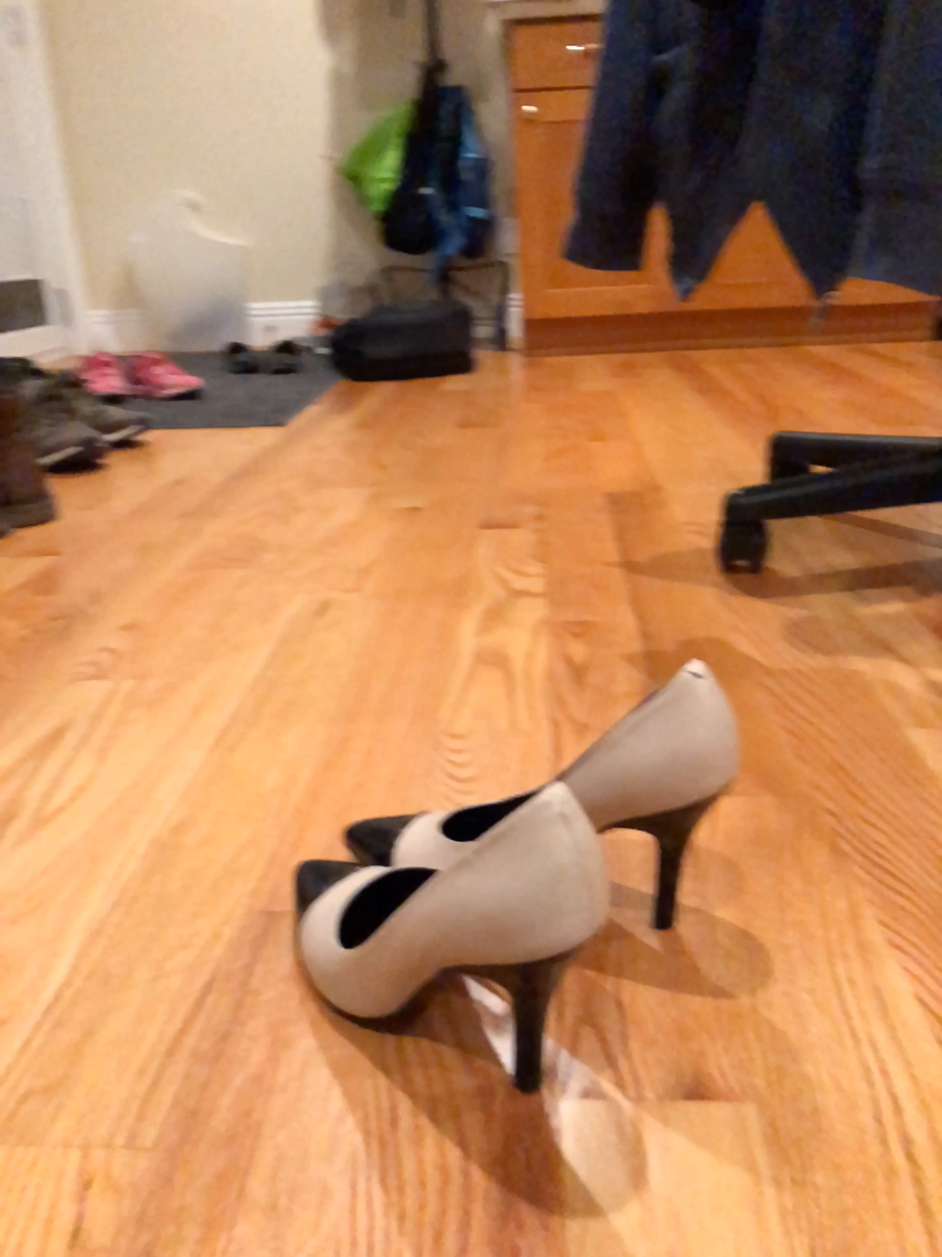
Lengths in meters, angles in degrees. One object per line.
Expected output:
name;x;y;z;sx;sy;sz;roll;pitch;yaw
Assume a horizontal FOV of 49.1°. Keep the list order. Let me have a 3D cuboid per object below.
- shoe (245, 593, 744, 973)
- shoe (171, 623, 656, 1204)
shoe;0.013;0.070;0.539;0.235;0.138;0.085;6;21;22
shoe;-0.037;0.102;0.459;0.085;0.138;0.236;-17;24;-35
